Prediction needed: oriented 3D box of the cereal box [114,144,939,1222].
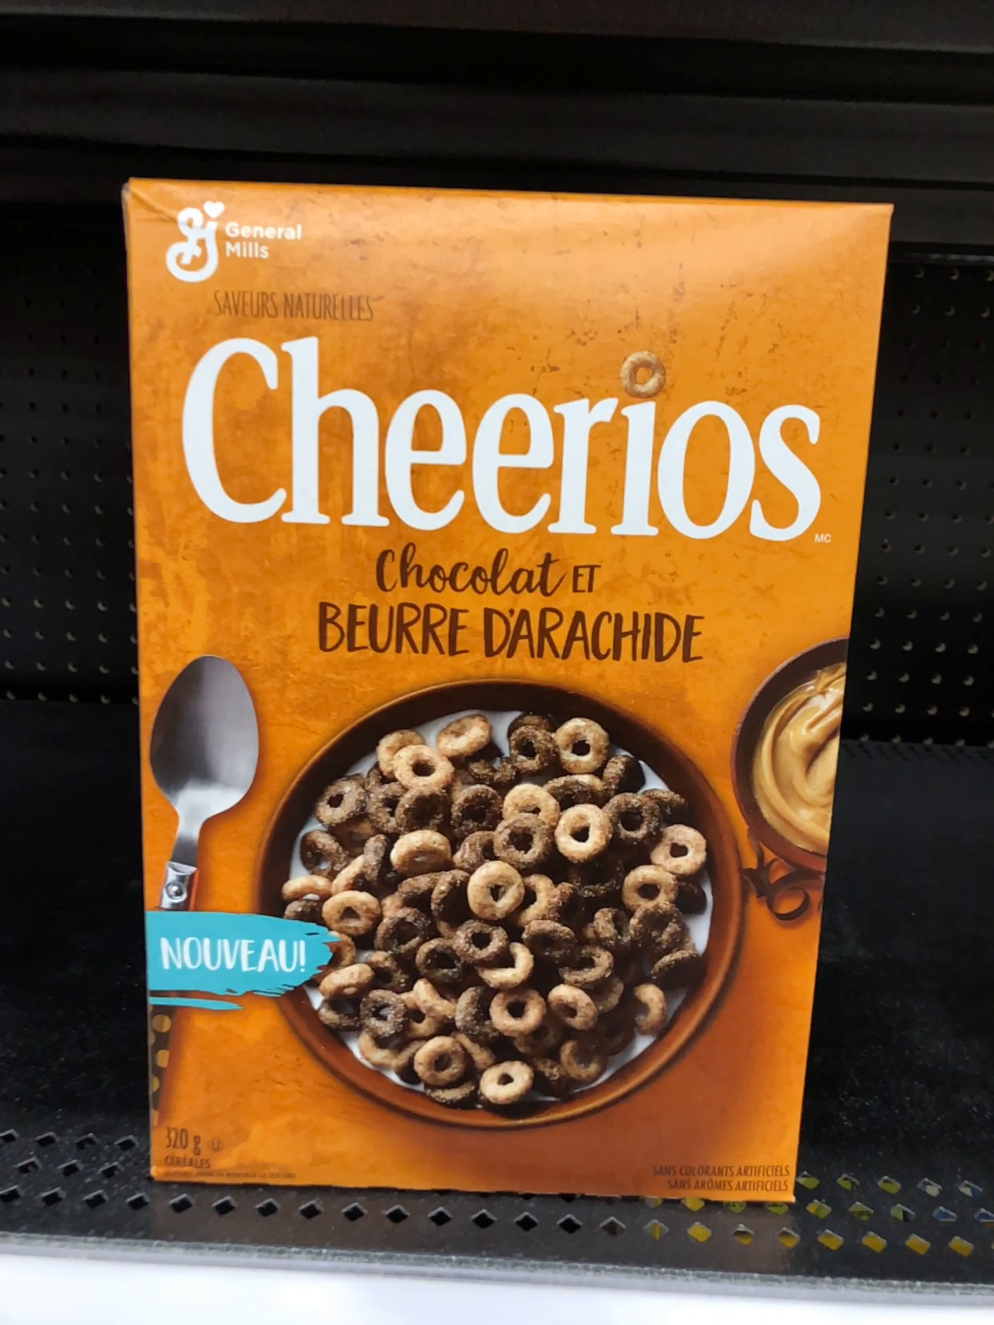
[{"bbox_3d":[0.001,0.014,0.325,0.200,0.289,0.060,2,12,-1],"label":"cereal box"}]
